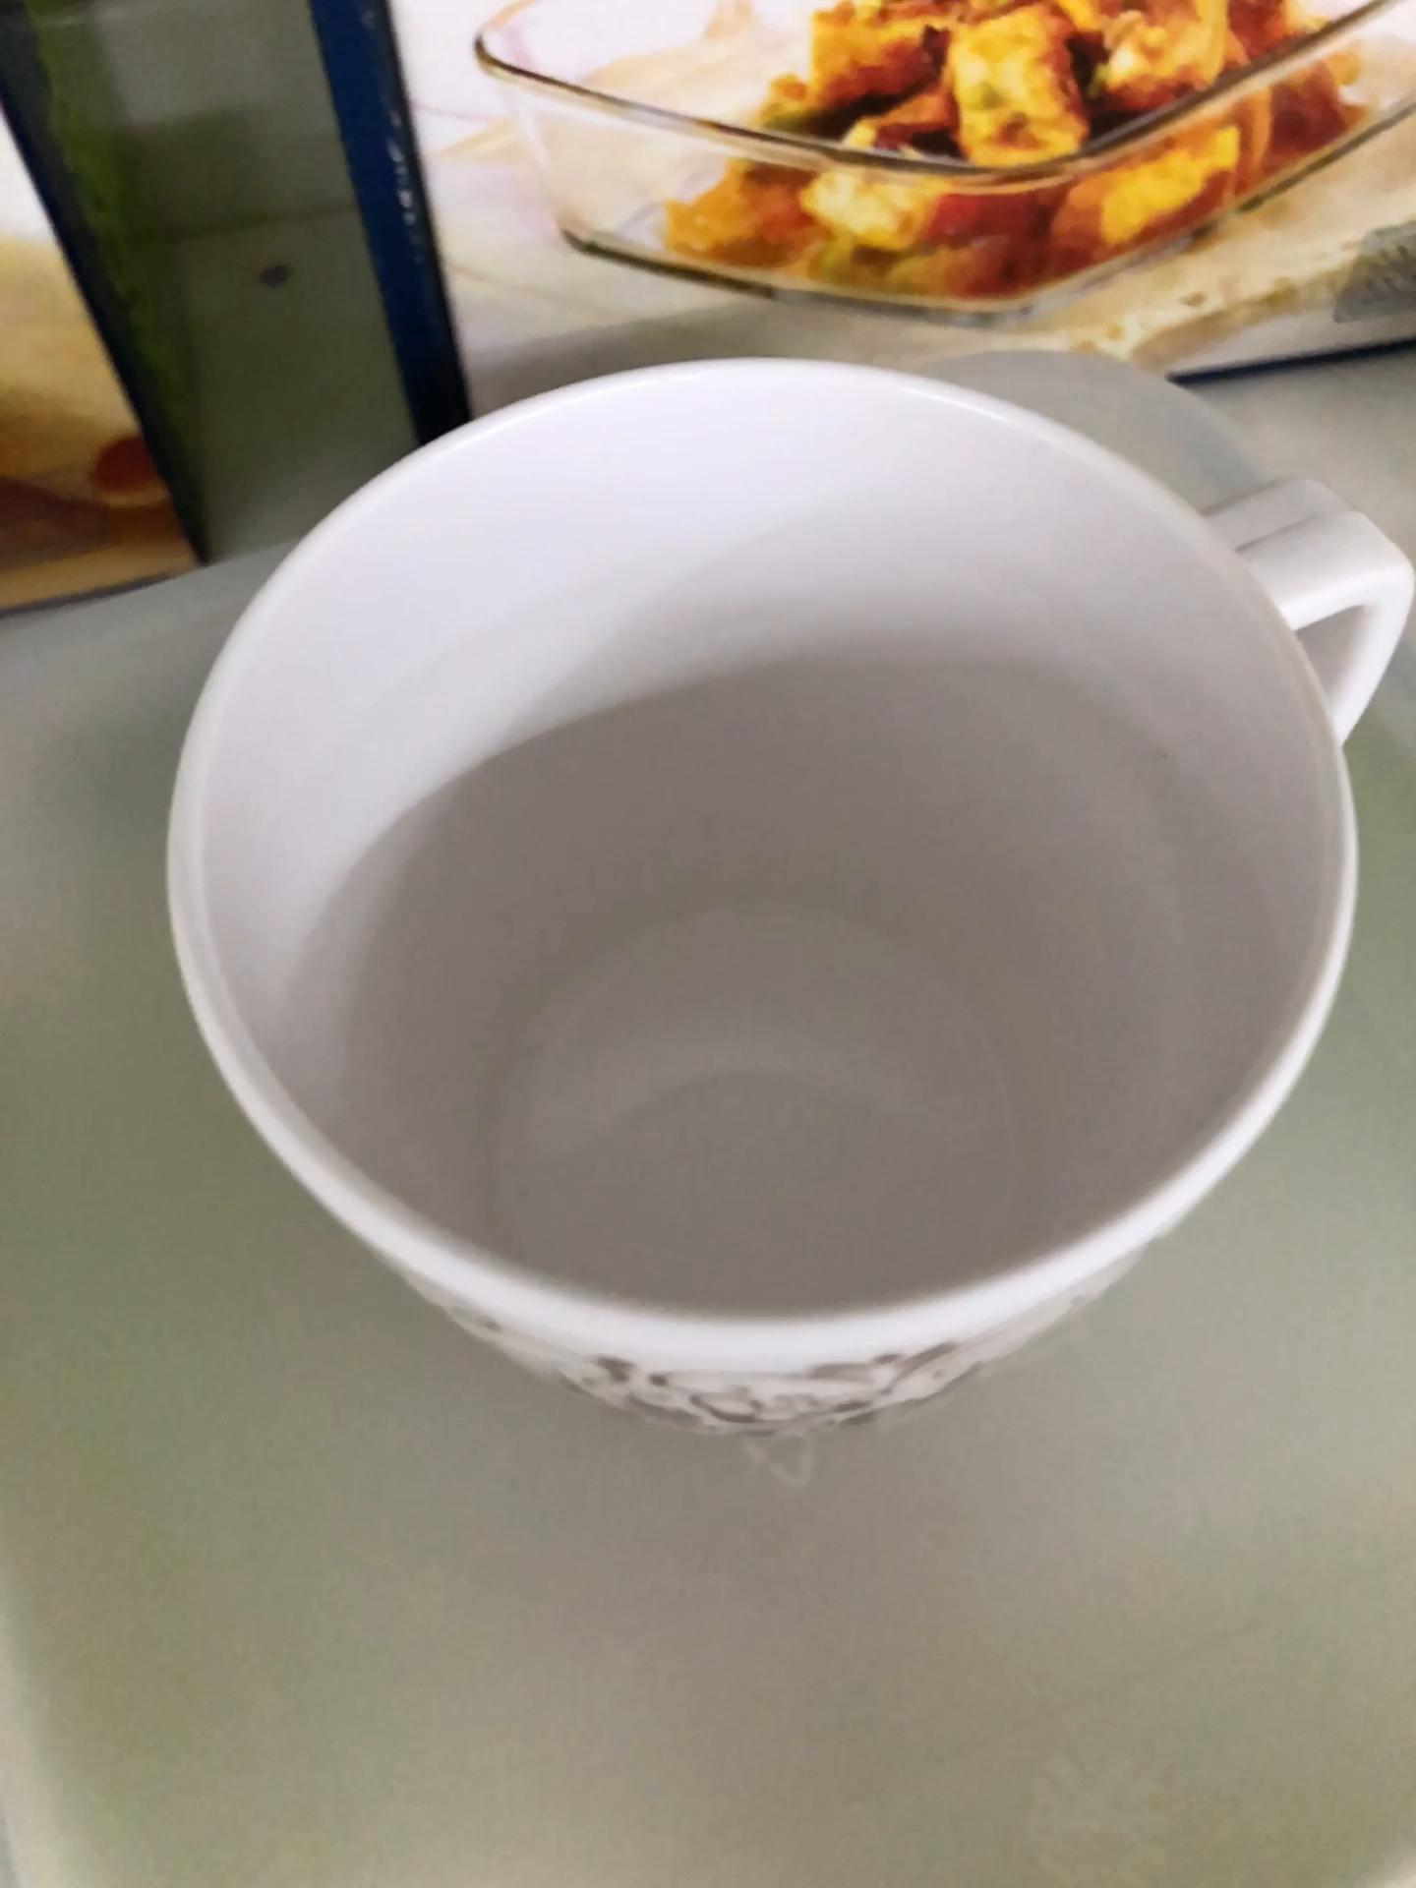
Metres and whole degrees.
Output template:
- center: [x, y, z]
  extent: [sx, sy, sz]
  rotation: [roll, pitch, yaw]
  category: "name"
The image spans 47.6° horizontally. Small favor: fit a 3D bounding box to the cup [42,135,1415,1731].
- center: [0.018, 0.001, 0.130]
  extent: [0.100, 0.070, 0.070]
  rotation: [-24, 62, -12]
  category: "cup"
